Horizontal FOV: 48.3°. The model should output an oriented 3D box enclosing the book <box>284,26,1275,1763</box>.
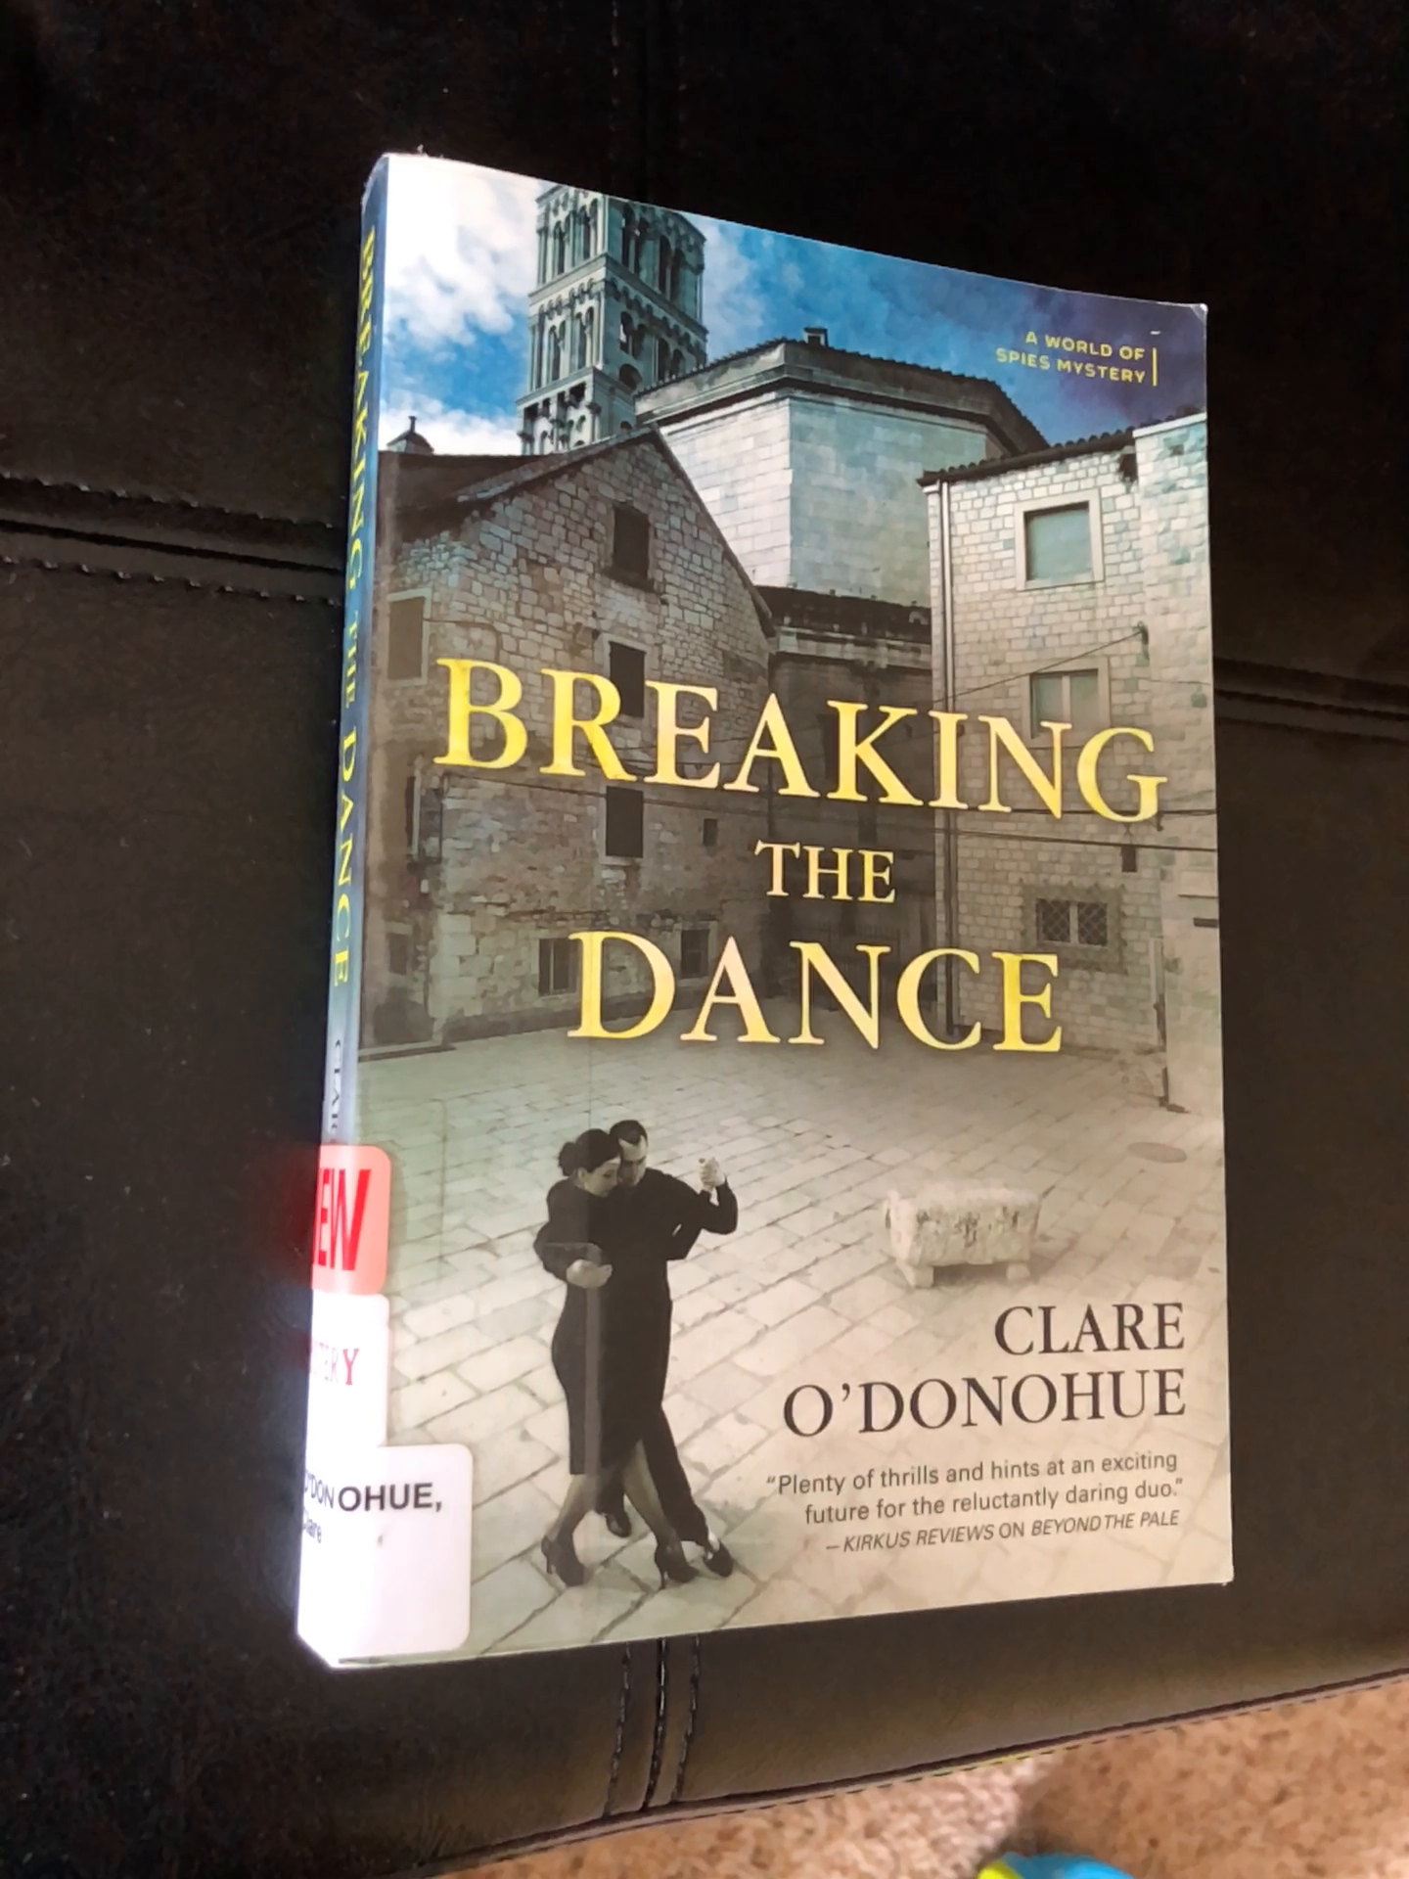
[{"bbox_3d":[0.017,-0.005,0.236,0.140,0.040,0.210,4,84,-25],"label":"book"}]
